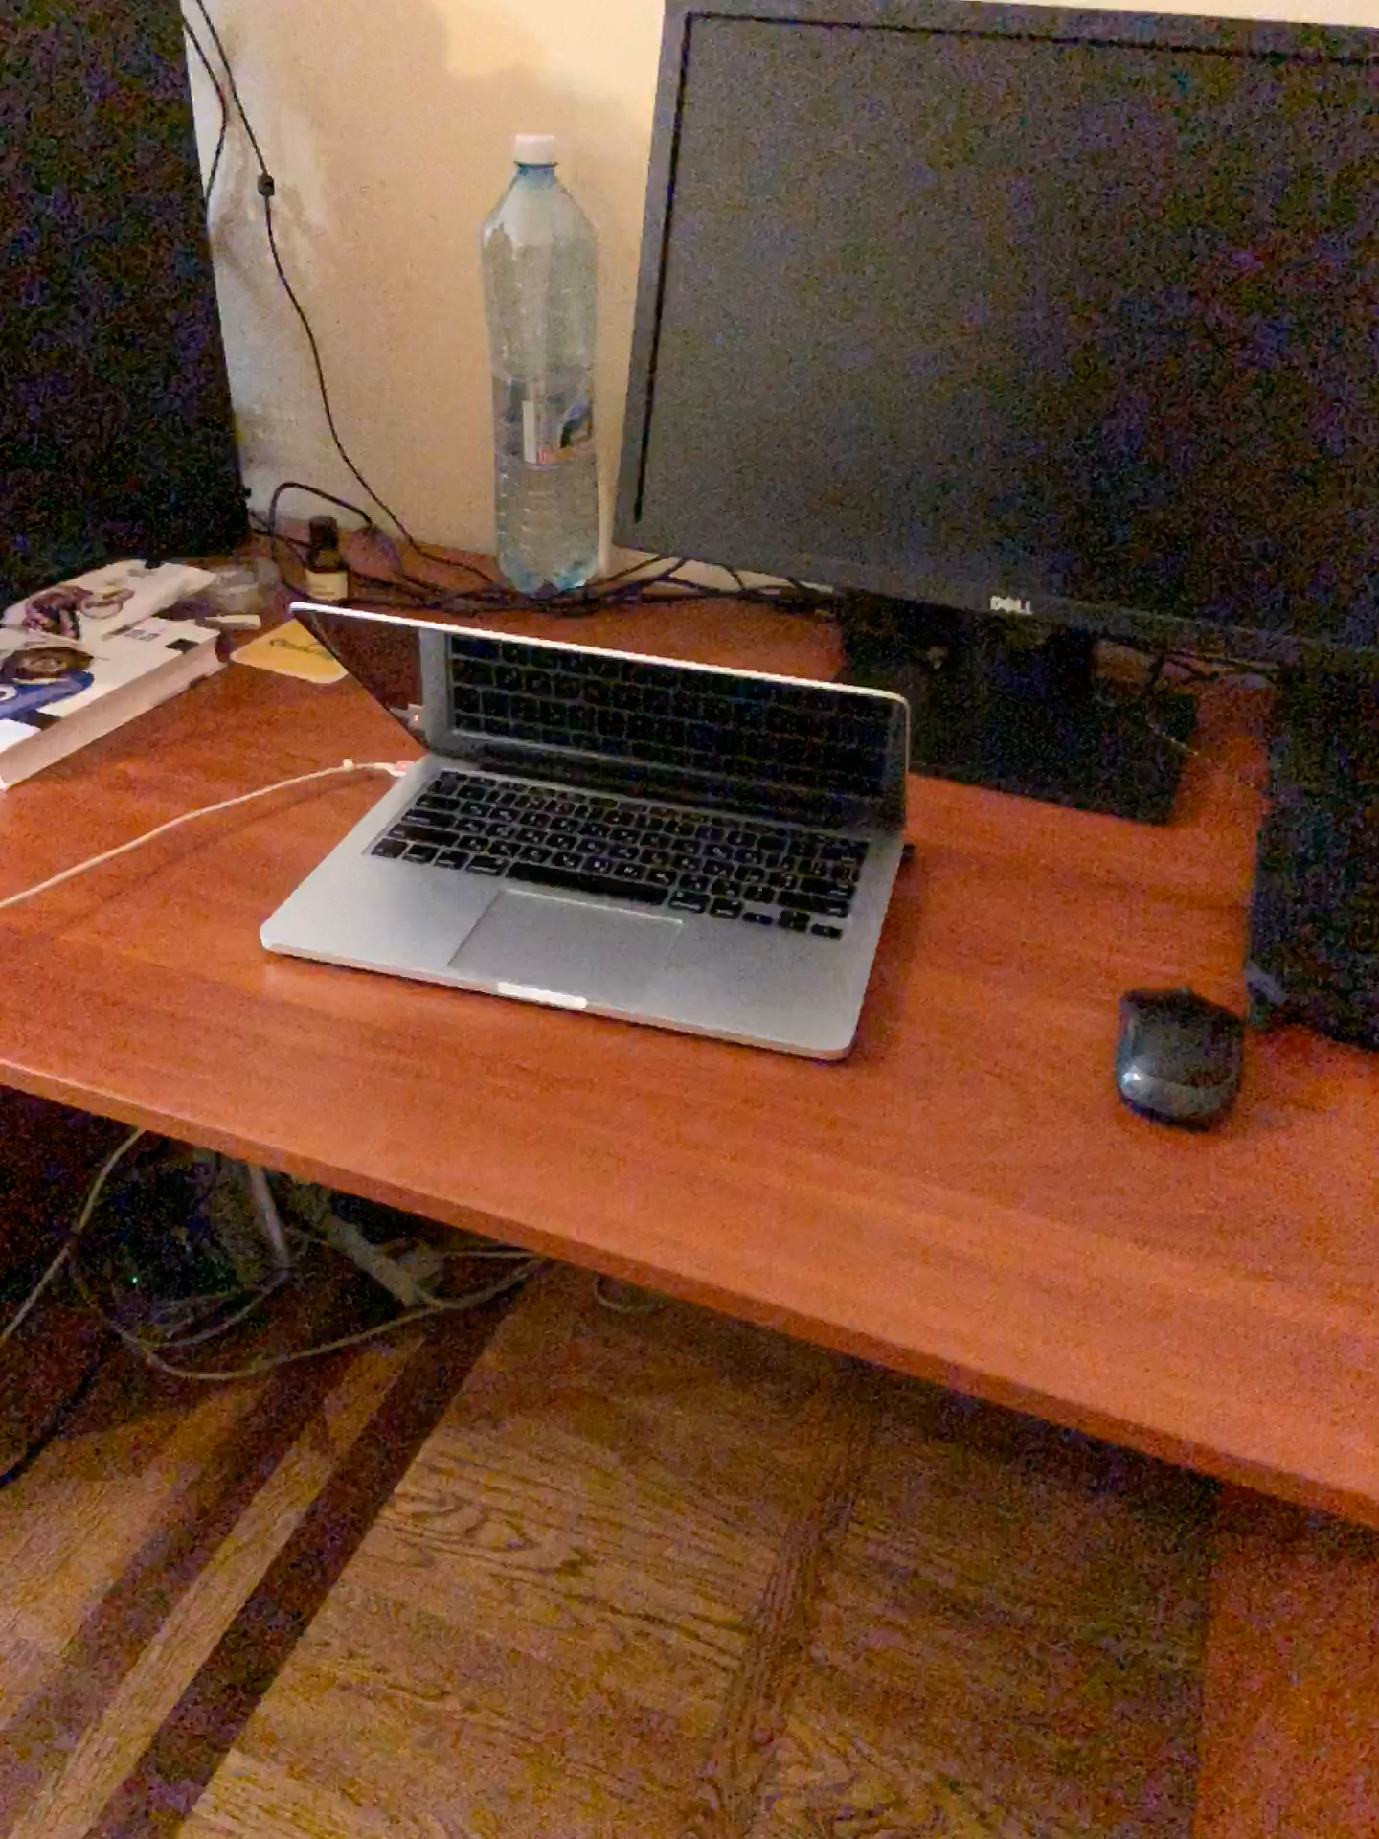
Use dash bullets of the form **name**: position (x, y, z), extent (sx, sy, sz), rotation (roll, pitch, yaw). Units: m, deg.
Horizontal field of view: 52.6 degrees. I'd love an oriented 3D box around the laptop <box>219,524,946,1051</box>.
- **laptop**: position (-0.042, -0.082, 0.723), extent (0.306, 0.148, 0.205), rotation (10, 35, 11)
